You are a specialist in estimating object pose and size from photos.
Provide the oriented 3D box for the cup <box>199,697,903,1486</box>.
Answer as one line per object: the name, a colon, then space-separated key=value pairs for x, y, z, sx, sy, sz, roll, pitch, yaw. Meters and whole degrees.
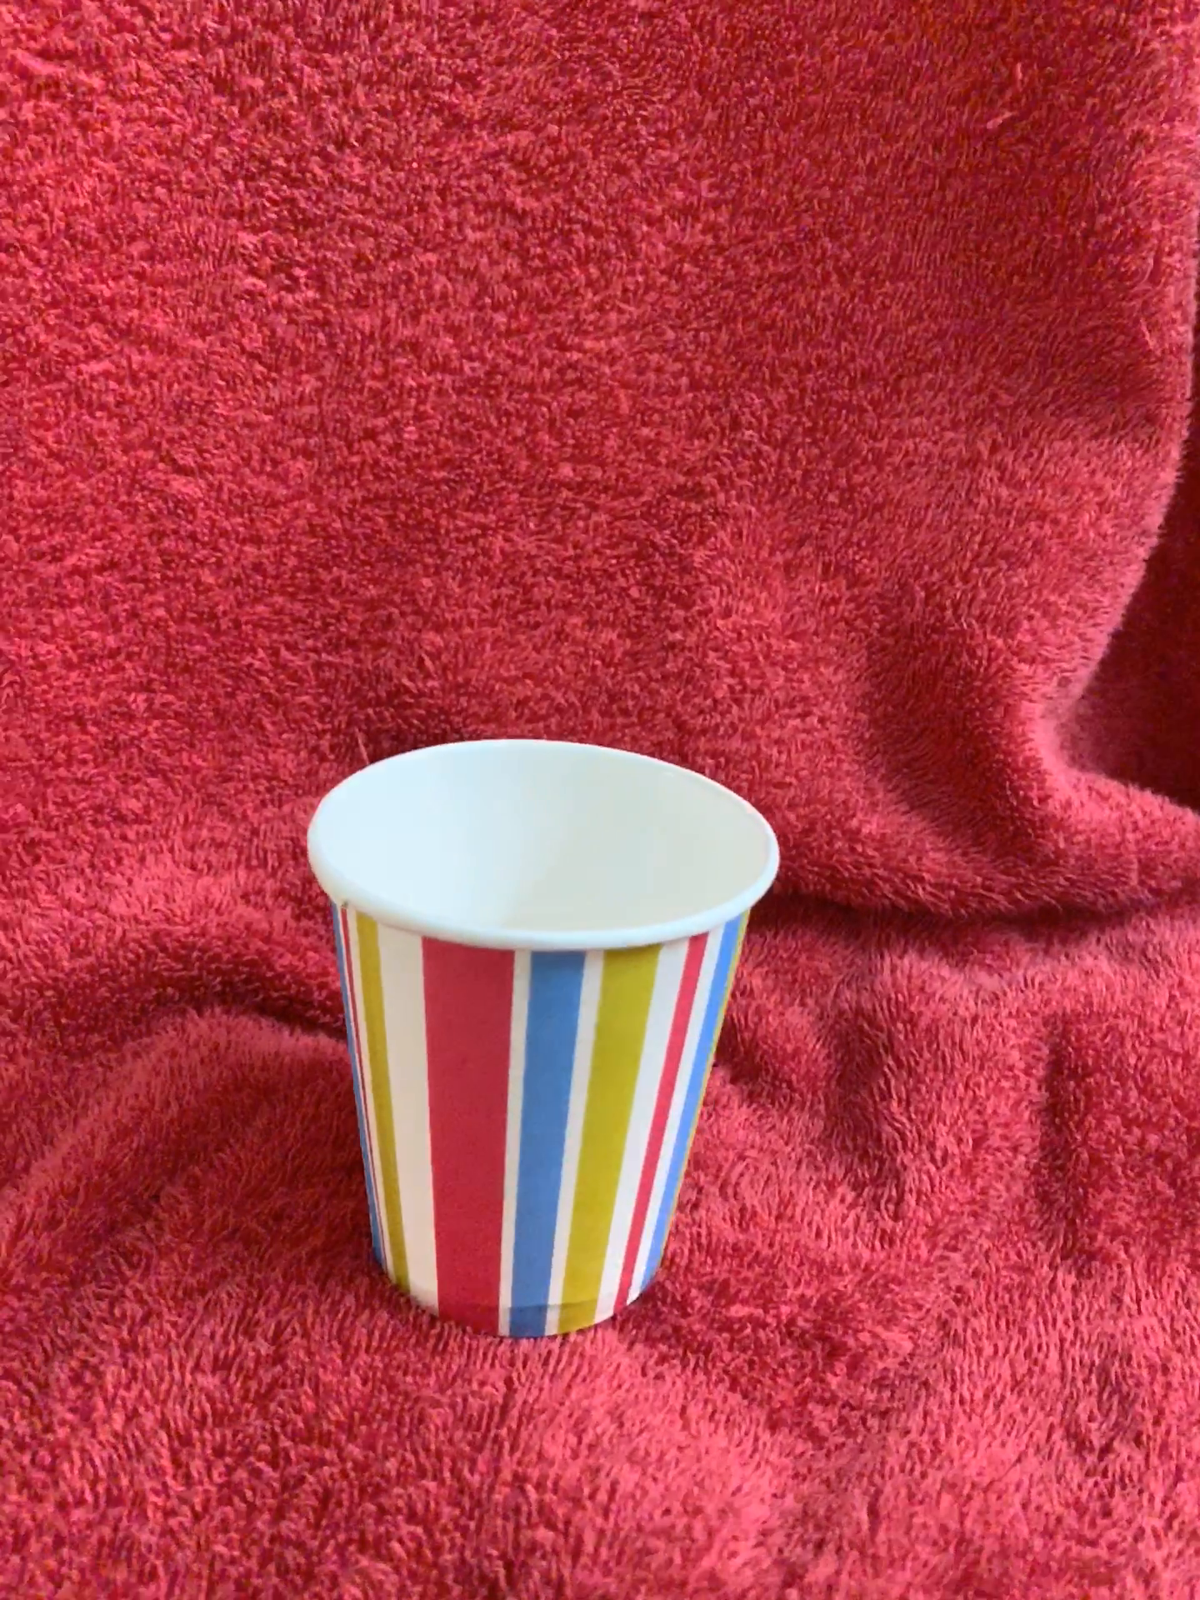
cup: x=-0.011 y=0.033 z=0.185 sx=0.070 sy=0.070 sz=0.070 roll=3 pitch=23 yaw=-1
